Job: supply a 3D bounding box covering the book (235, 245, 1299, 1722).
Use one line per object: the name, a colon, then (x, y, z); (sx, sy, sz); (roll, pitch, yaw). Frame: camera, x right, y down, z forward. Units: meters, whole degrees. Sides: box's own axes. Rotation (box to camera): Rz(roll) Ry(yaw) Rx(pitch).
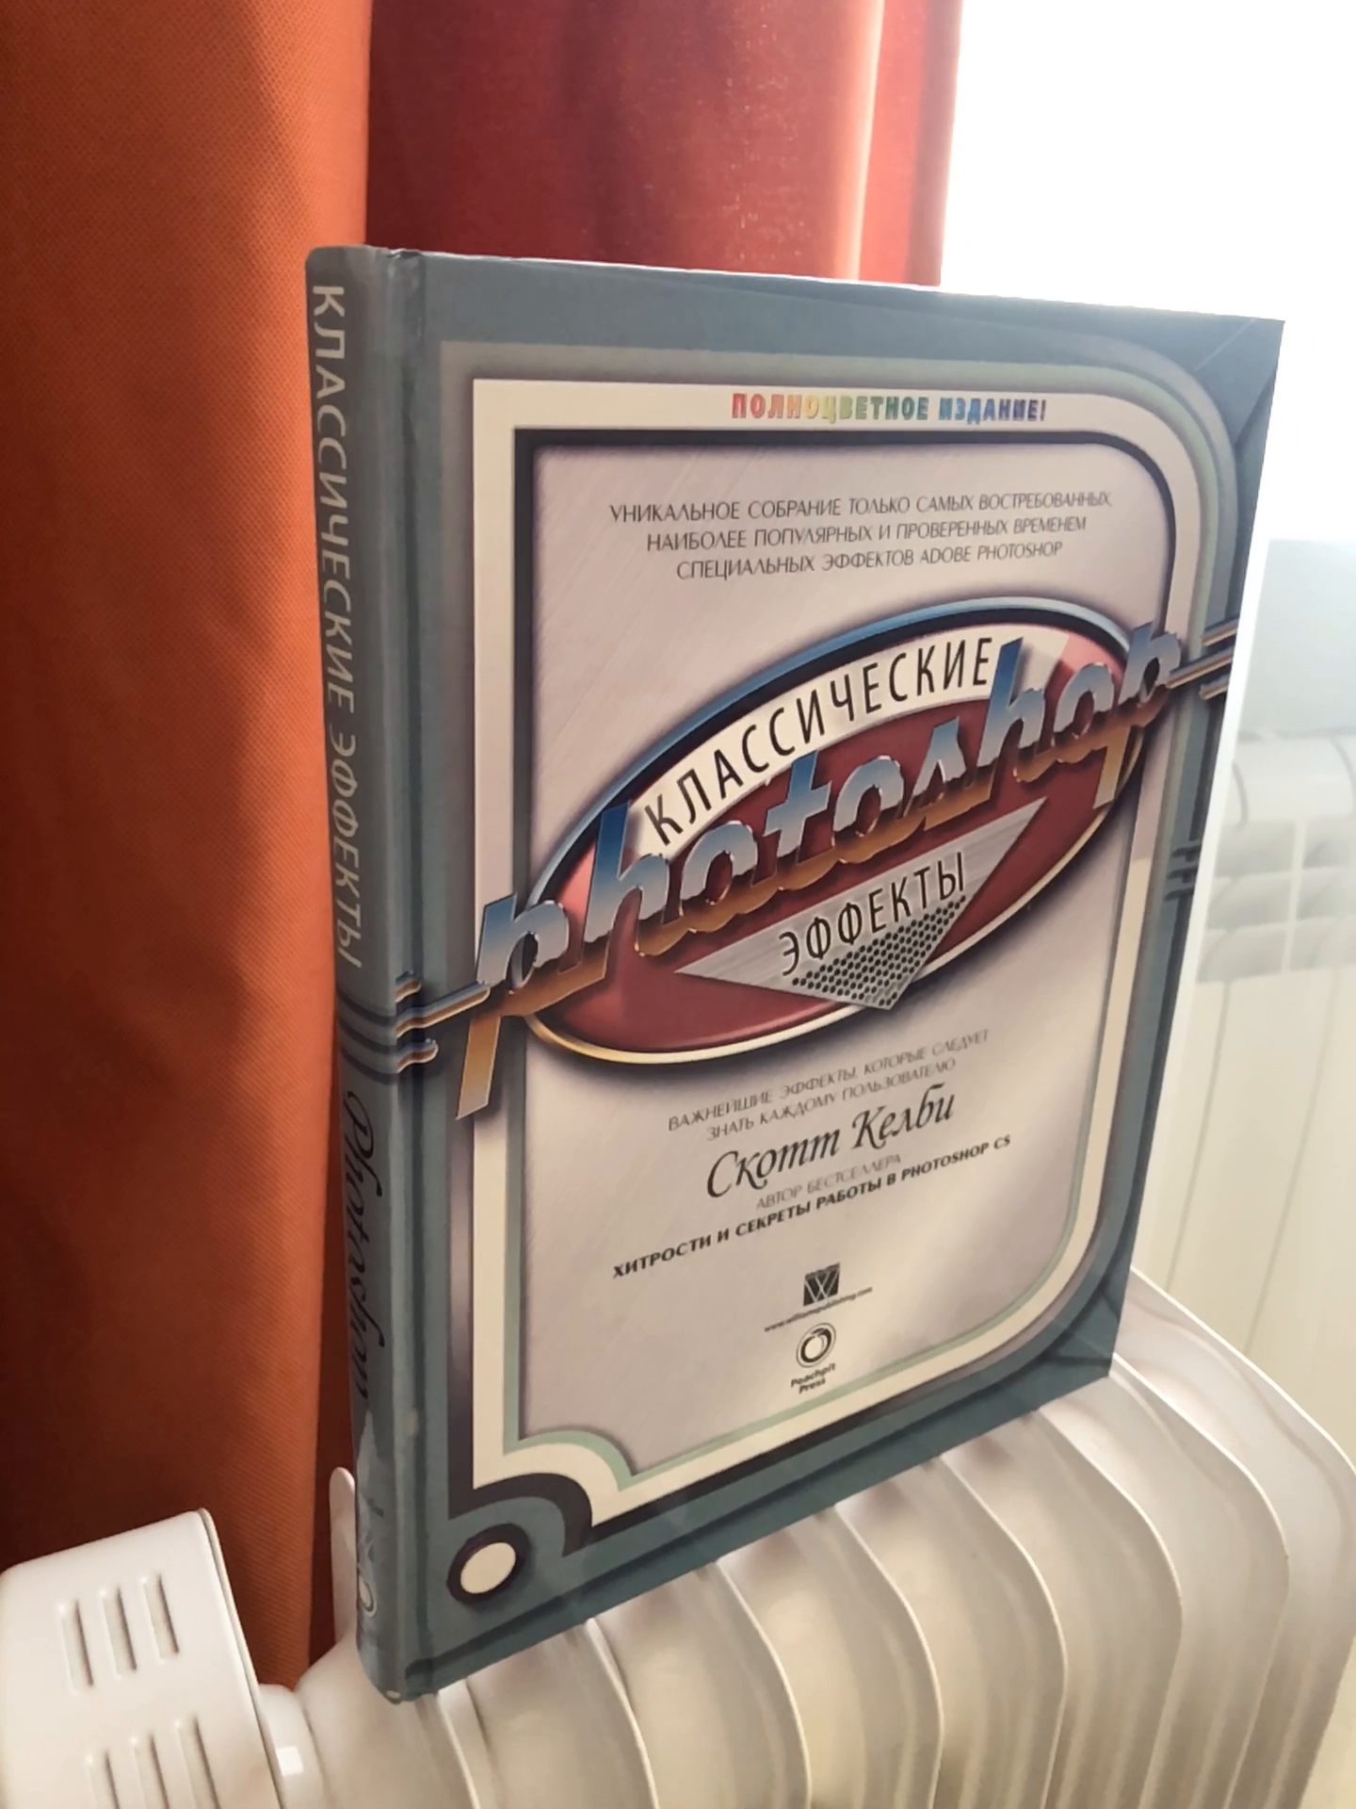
book: (0.026, 0.013, 0.334); (0.225, 0.276, 0.040); (-10, 24, -33)
